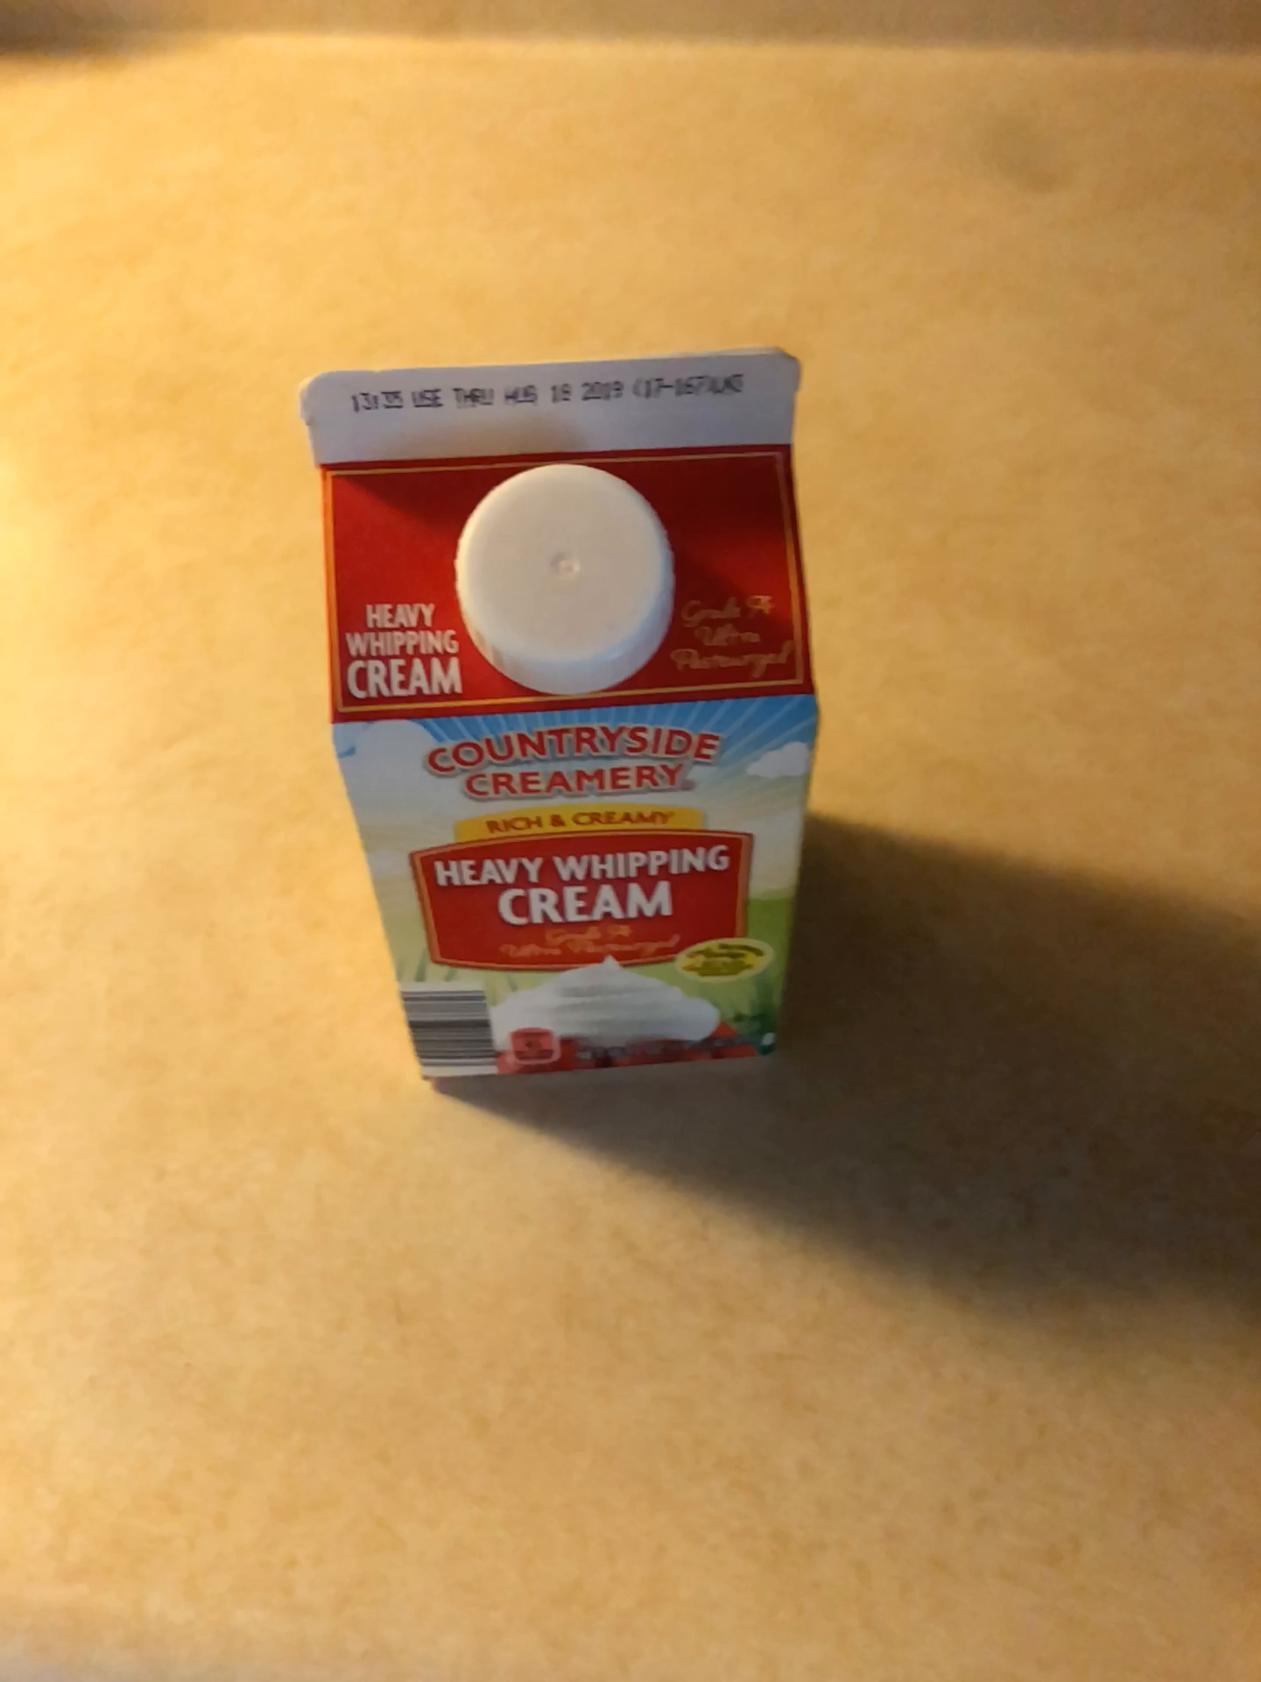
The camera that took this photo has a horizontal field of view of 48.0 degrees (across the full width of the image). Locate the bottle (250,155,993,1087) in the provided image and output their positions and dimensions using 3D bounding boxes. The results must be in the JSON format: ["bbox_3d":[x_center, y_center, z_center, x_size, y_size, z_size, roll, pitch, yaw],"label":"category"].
[{"bbox_3d":[-0.003,-0.032,0.250,0.090,0.130,0.090,-1,50,1],"label":"bottle"}]
